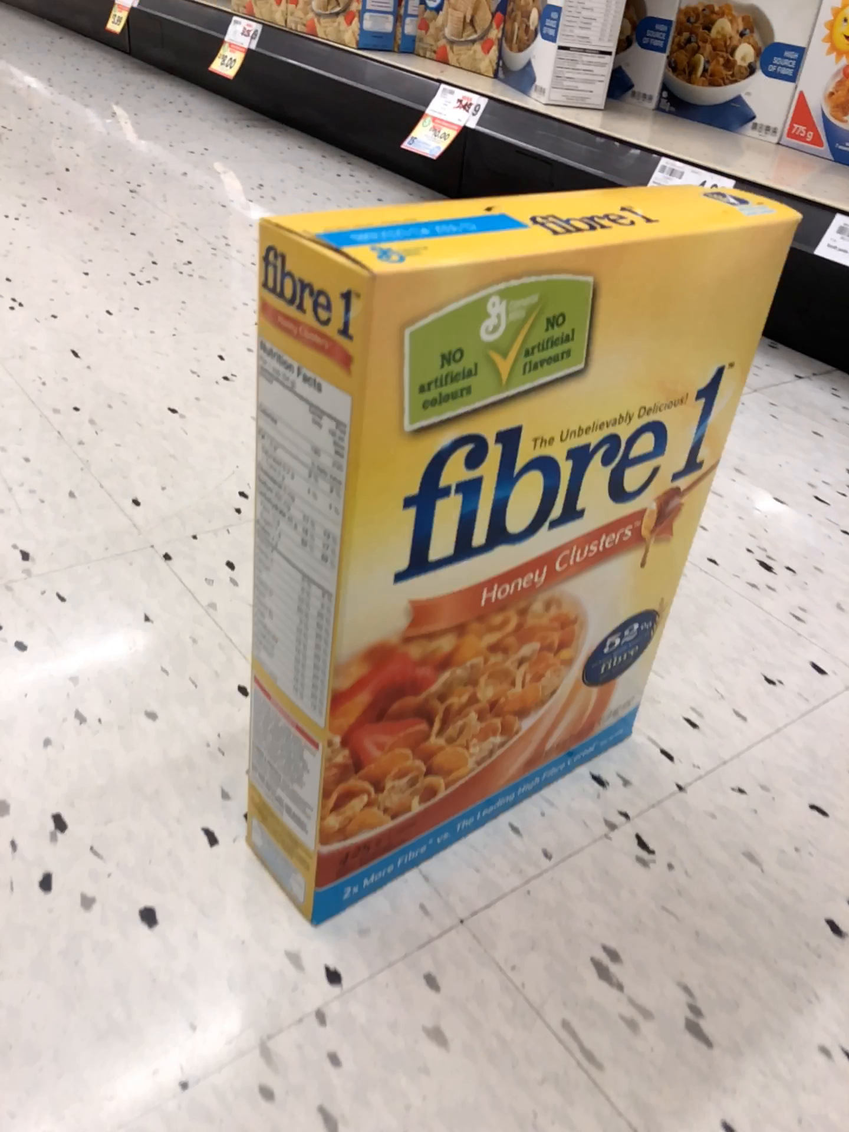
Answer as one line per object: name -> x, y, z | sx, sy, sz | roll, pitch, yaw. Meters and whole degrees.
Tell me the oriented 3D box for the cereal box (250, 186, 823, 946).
cereal box -> 0.033, -0.001, 0.349 | 0.191, 0.248, 0.050 | -20, 43, -36
